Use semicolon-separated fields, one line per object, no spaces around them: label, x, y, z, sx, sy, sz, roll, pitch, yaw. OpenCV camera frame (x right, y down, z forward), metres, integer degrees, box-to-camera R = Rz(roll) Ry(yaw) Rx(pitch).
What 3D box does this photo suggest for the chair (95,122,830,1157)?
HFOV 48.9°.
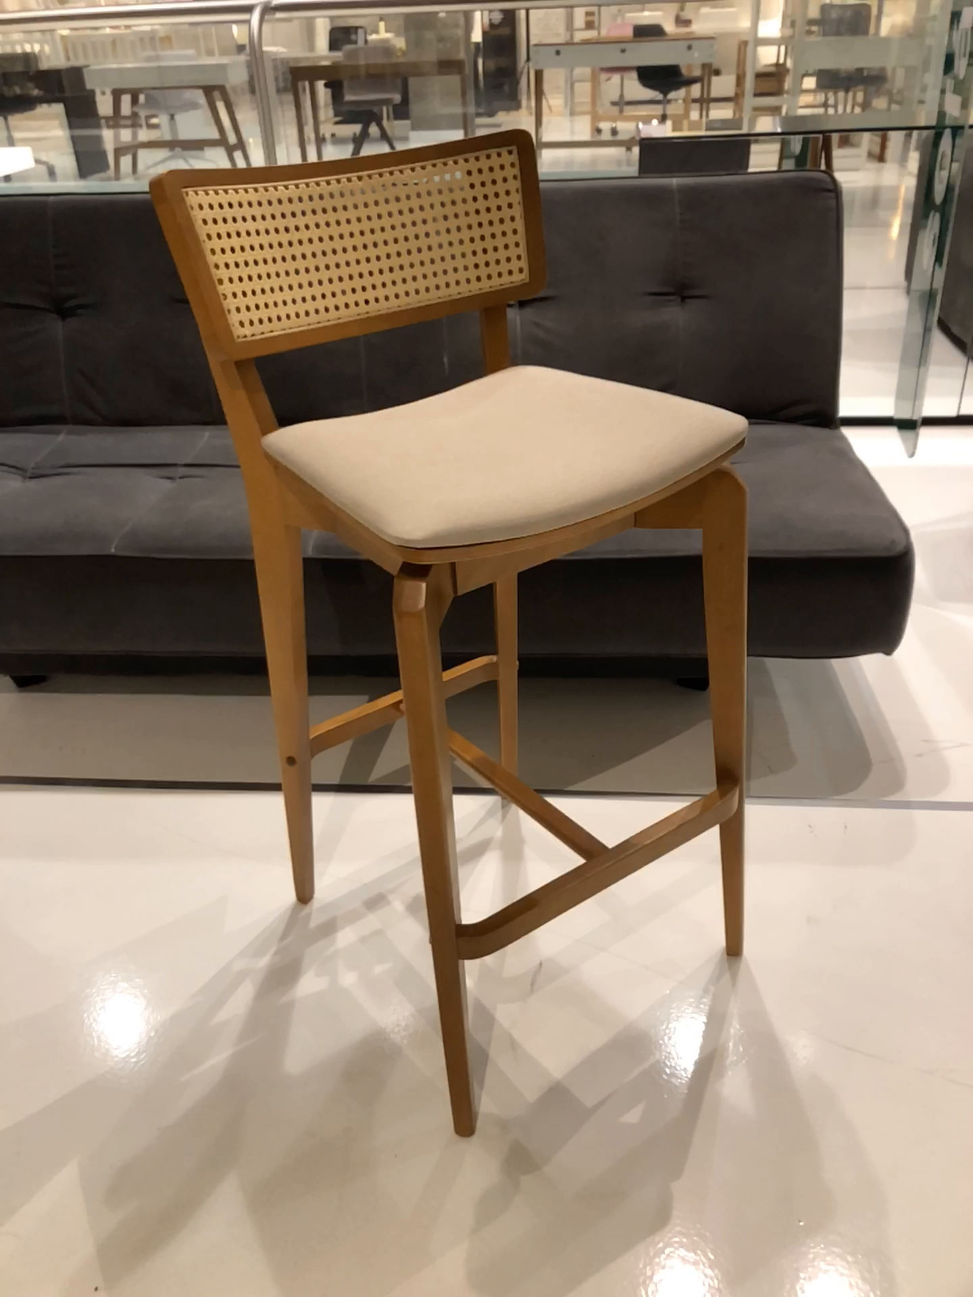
chair;-0.025;-0.042;1.231;0.471;0.963;0.523;-22;35;-30
